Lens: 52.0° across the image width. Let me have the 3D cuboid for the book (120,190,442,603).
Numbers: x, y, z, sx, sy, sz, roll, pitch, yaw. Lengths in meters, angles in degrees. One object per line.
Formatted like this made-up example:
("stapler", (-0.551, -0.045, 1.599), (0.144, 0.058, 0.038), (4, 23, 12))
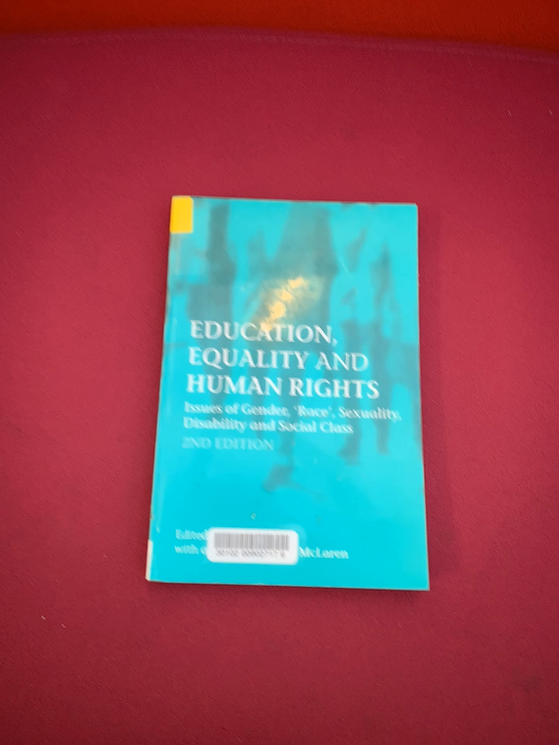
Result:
("book", (0.003, 0.008, 0.361), (0.180, 0.030, 0.250), (1, 78, -1))
